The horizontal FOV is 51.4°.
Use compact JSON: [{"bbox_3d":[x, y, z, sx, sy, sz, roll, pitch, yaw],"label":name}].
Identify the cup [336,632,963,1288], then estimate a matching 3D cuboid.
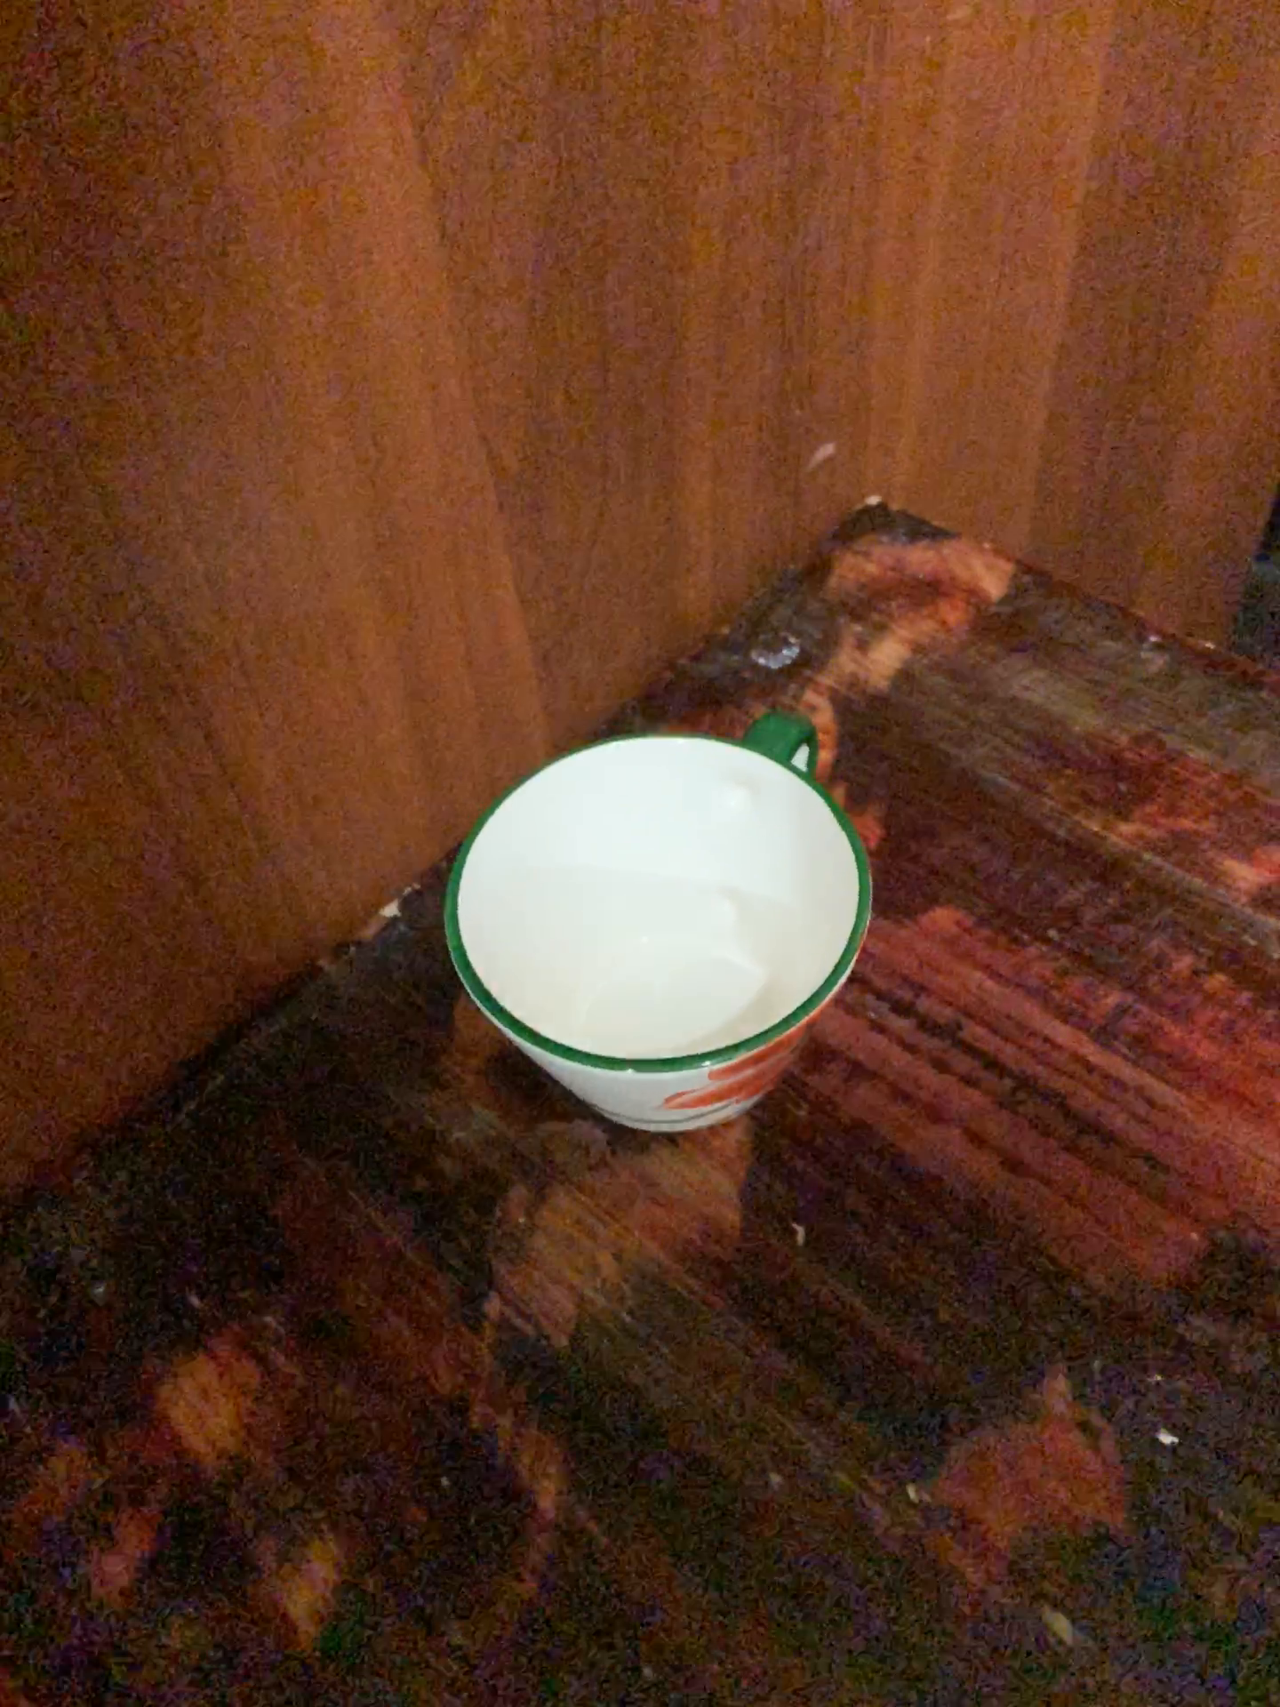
[{"bbox_3d":[0.006,0.015,0.249,0.075,0.045,0.095,19,57,20],"label":"cup"}]
